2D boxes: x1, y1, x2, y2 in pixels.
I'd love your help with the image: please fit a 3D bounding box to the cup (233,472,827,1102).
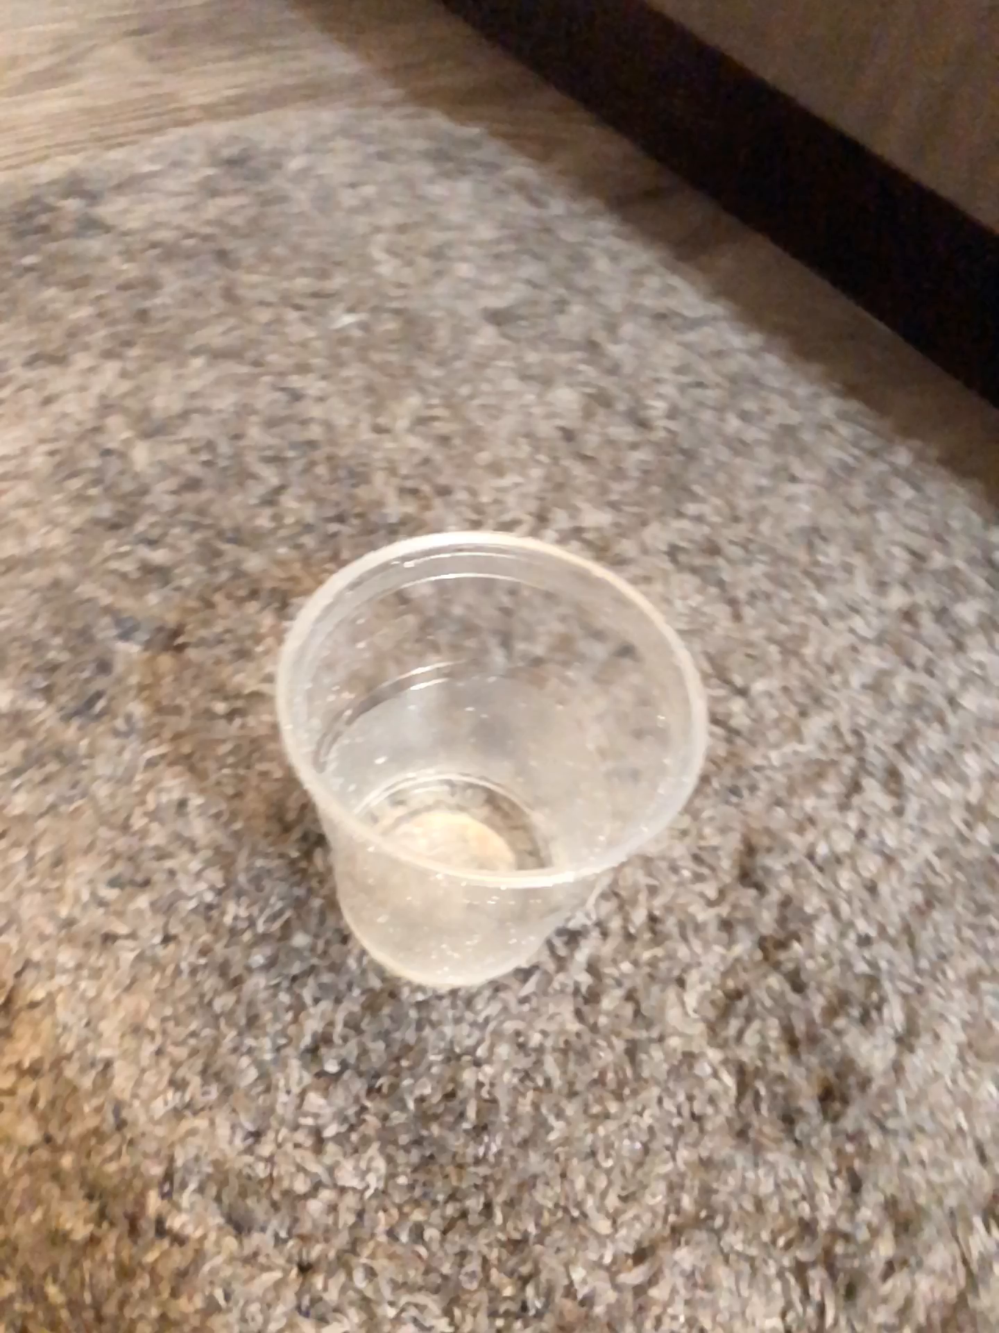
[{"bbox_3d":[-0.004,0.026,0.252,0.090,0.090,0.090,7,51,-8],"label":"cup"}]
